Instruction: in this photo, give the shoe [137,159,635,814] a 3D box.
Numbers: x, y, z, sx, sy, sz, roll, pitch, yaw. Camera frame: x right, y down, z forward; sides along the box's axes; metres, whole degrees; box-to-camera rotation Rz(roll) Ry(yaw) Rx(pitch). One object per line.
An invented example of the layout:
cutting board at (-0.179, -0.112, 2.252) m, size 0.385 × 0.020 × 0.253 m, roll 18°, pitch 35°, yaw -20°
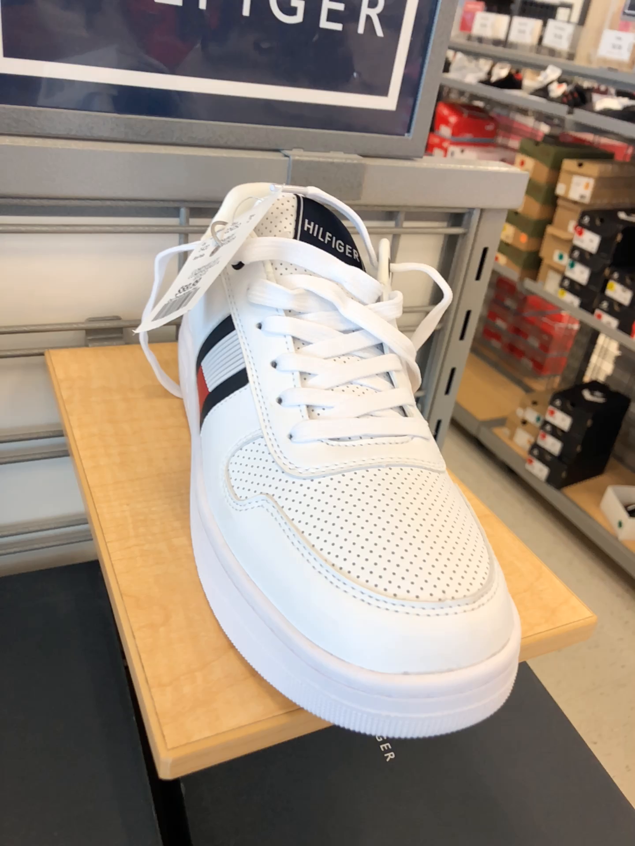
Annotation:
shoe at (-0.003, -0.017, 0.295) m, size 0.107 × 0.113 × 0.282 m, roll -3°, pitch 32°, yaw -20°
